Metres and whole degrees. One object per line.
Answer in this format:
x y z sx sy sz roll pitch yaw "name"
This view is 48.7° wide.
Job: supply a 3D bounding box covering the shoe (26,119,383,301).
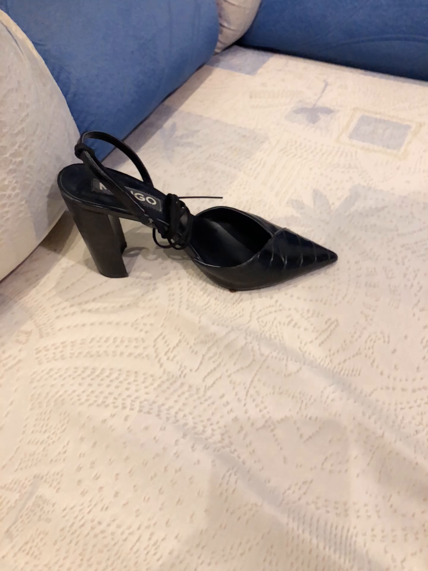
-0.006 -0.059 0.390 0.240 0.119 0.084 1 51 2 "shoe"
